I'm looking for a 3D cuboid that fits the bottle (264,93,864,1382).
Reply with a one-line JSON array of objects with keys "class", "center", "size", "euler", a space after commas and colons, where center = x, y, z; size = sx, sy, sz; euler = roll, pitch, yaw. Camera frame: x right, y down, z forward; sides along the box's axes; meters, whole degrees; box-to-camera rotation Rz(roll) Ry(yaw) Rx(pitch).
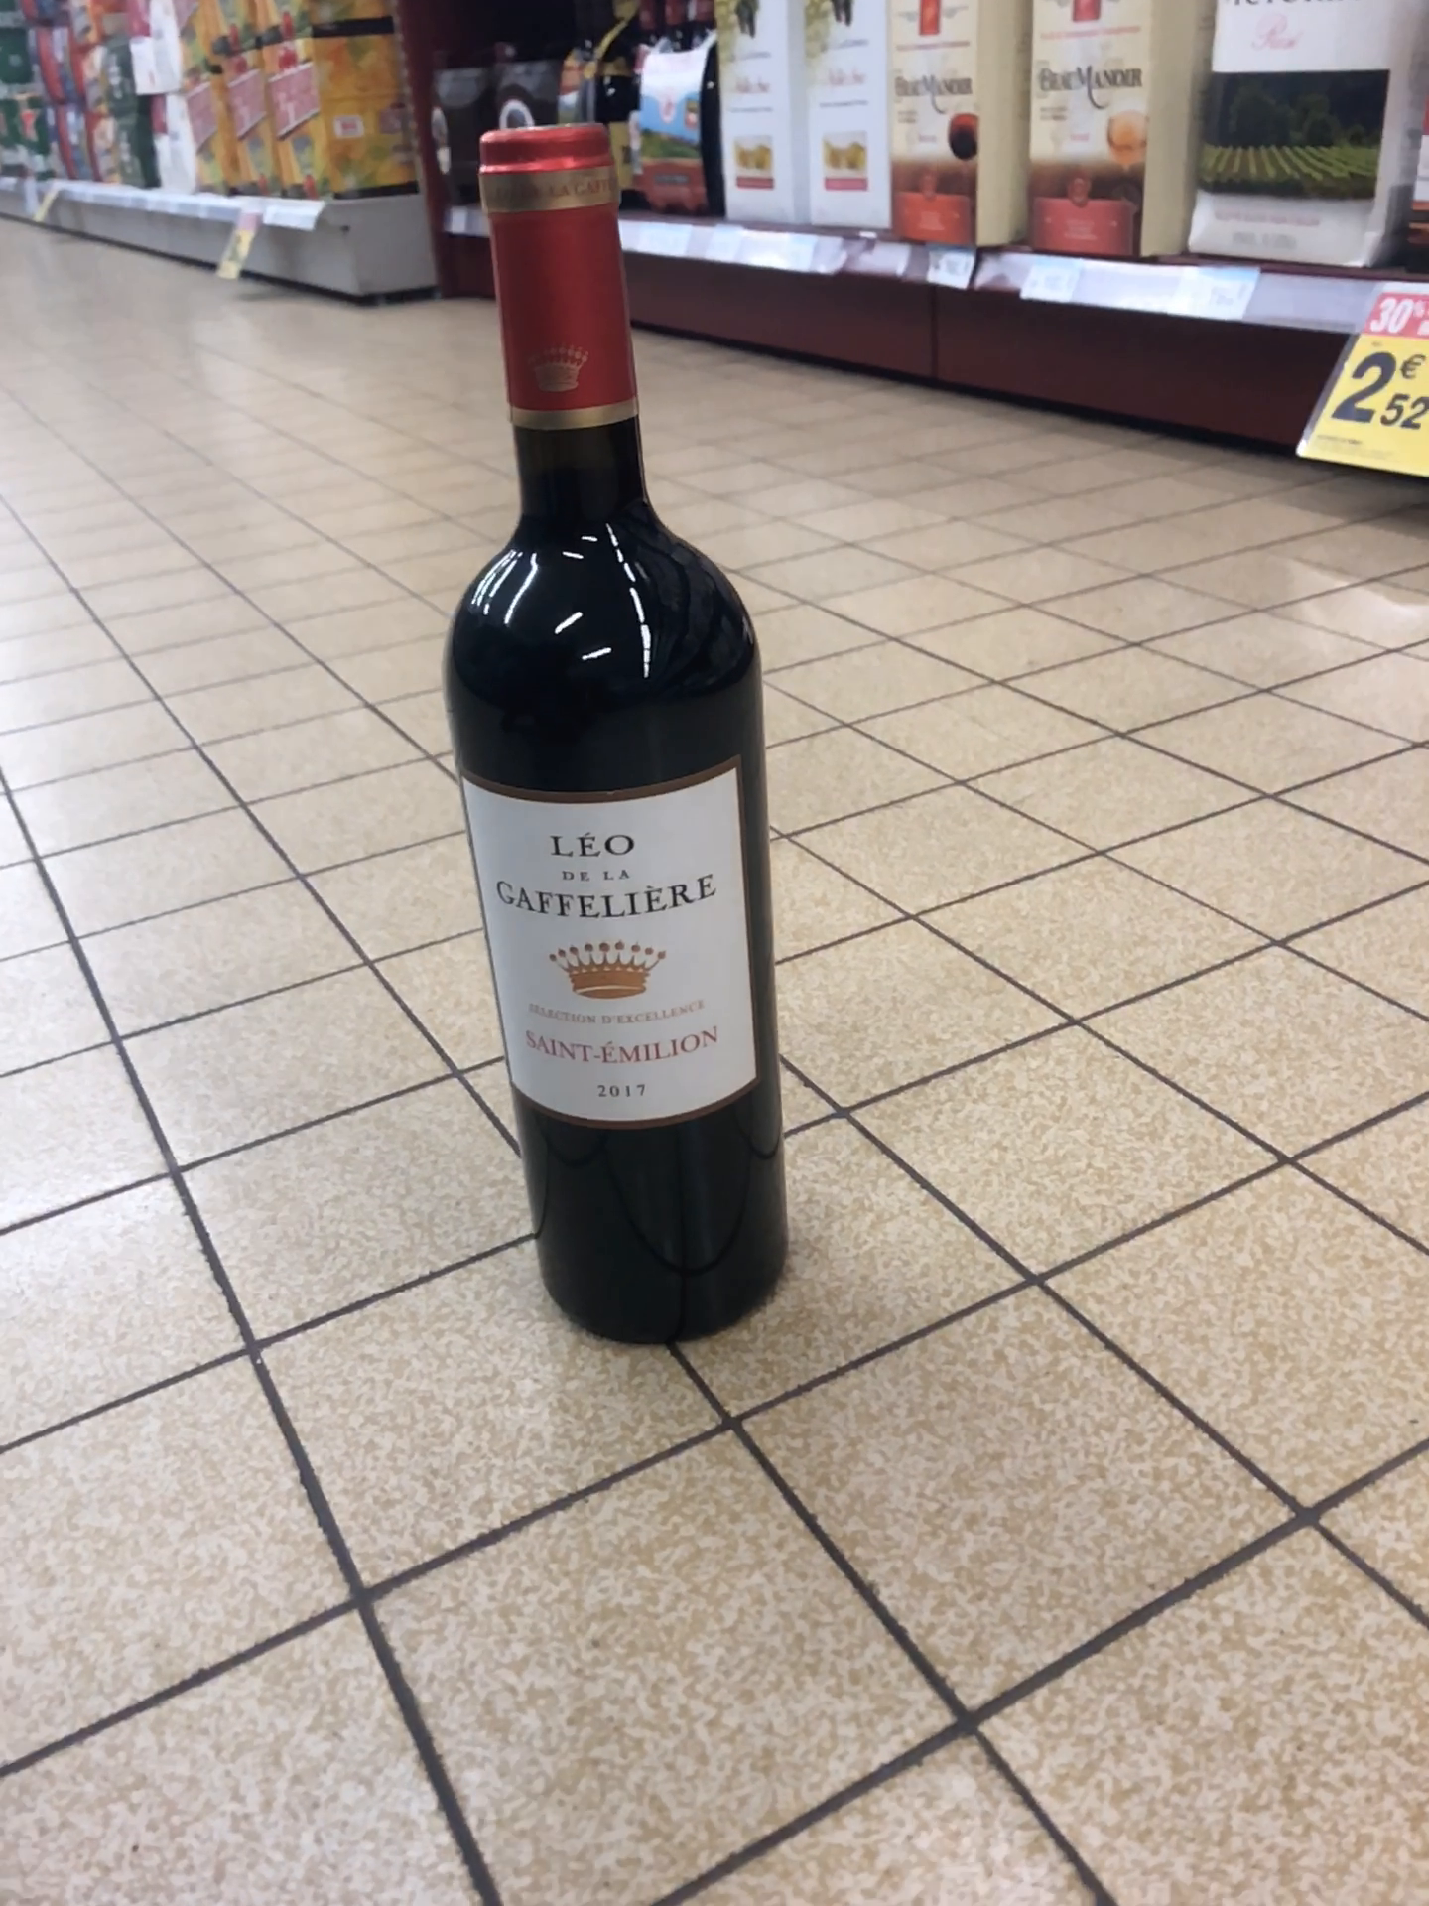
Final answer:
[{"class": "bottle", "center": [-0.018, -0.042, 0.381], "size": [0.090, 0.287, 0.091], "euler": [-3, 28, 2]}]
